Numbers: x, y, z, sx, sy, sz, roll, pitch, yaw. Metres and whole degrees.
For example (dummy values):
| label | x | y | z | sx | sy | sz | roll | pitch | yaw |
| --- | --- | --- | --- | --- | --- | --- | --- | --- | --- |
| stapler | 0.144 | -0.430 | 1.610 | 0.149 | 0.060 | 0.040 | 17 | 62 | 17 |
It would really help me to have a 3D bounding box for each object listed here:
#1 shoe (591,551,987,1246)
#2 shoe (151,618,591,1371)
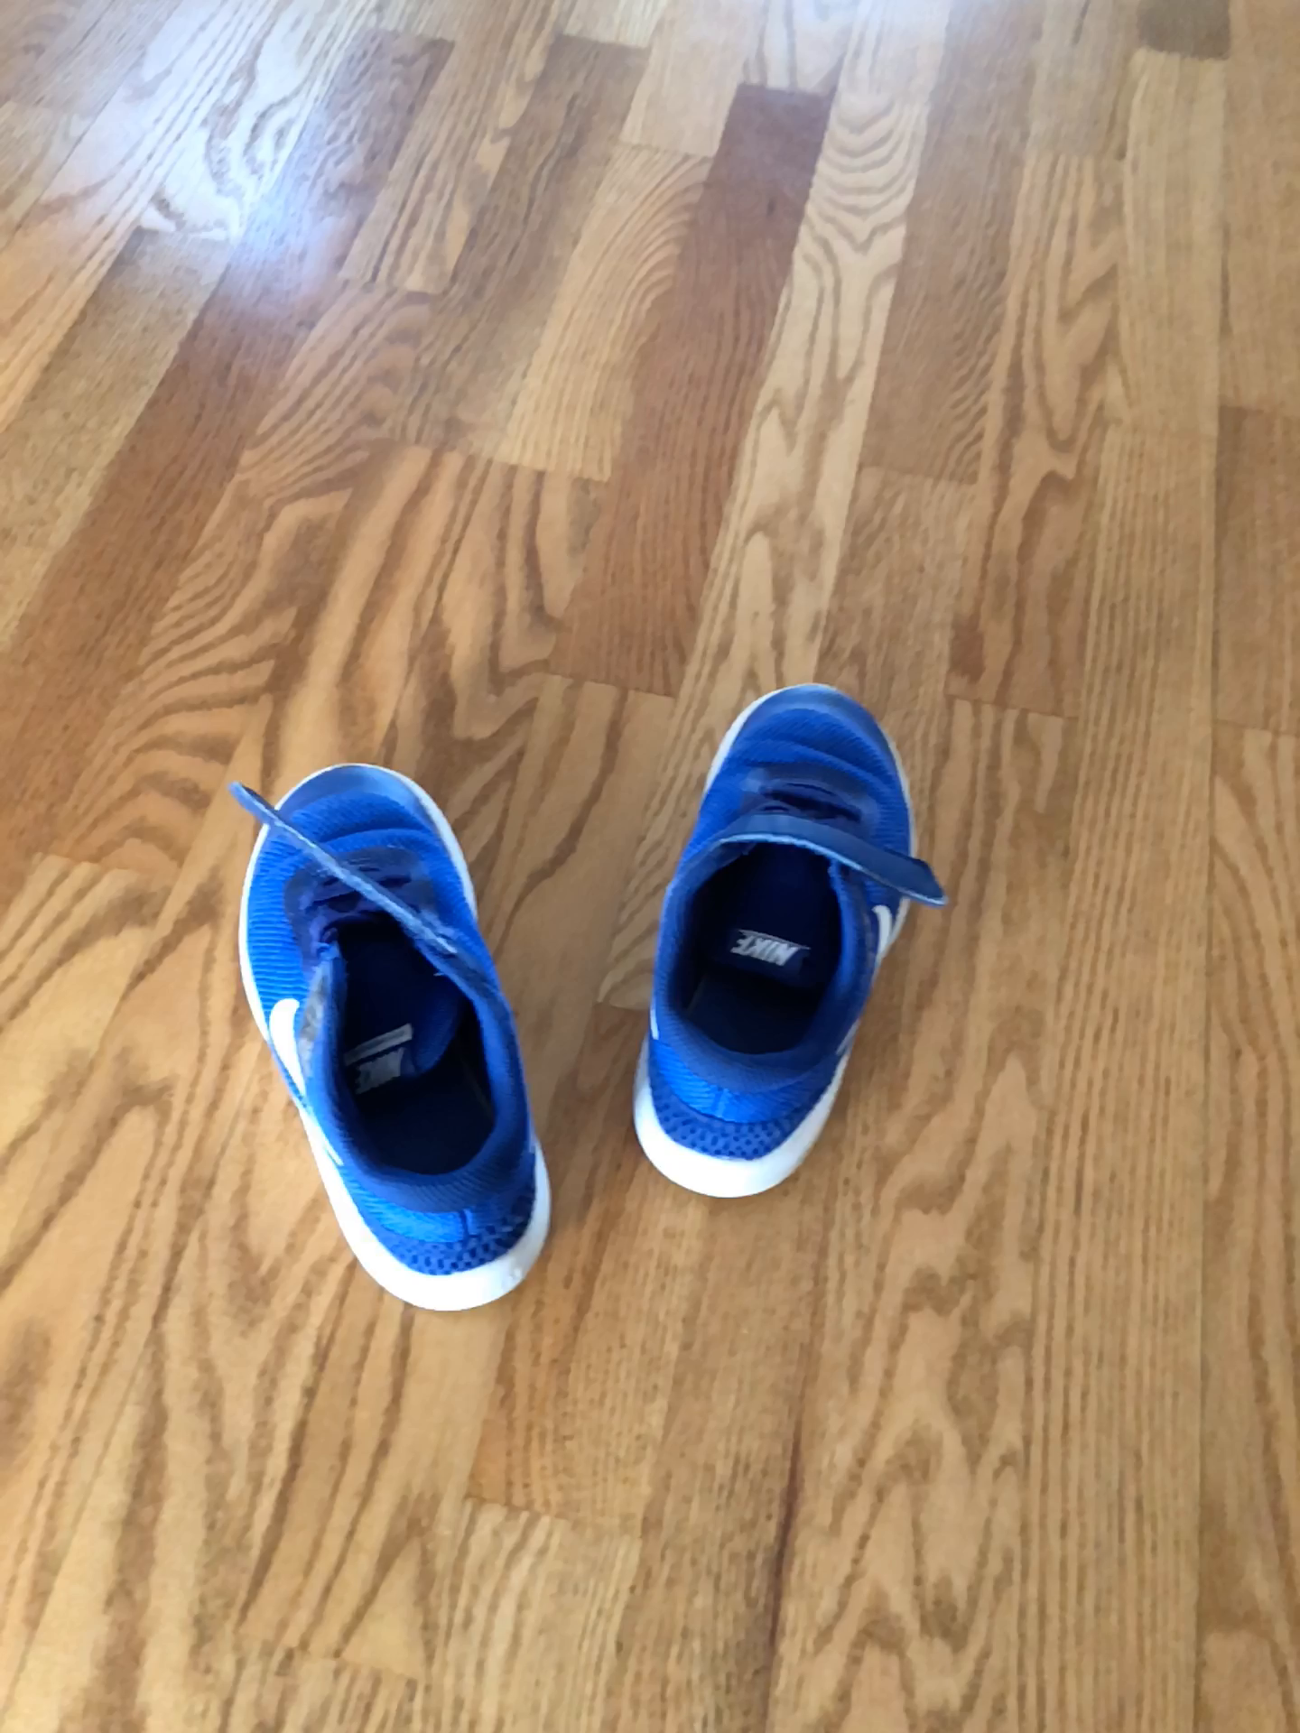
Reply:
| label | x | y | z | sx | sy | sz | roll | pitch | yaw |
| --- | --- | --- | --- | --- | --- | --- | --- | --- | --- |
| shoe | 0.051 | 0.006 | 0.505 | 0.093 | 0.092 | 0.215 | 12 | 59 | 5 |
| shoe | -0.093 | 0.037 | 0.473 | 0.093 | 0.092 | 0.215 | -13 | 60 | -10 |
